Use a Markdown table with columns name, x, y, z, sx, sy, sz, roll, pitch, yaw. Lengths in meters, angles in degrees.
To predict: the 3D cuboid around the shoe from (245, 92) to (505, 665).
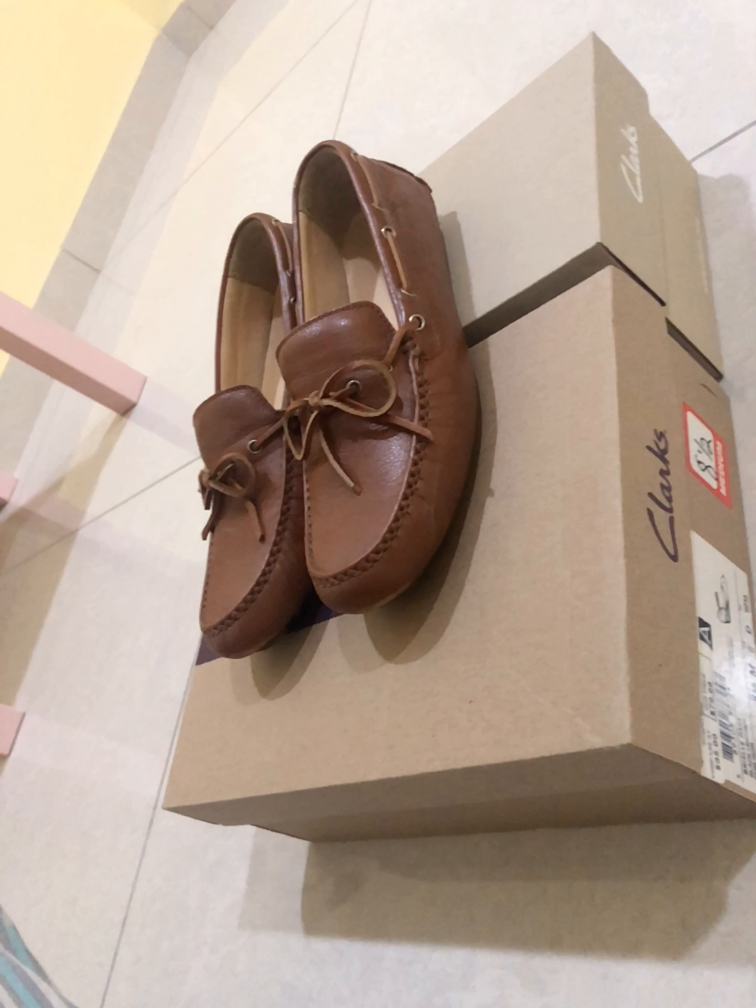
| name | x | y | z | sx | sy | sz | roll | pitch | yaw |
| --- | --- | --- | --- | --- | --- | --- | --- | --- | --- |
| shoe | 0.000 | -0.070 | 0.432 | 0.080 | 0.080 | 0.280 | -26 | 51 | 40 |

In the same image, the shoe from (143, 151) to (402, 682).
| name | x | y | z | sx | sy | sz | roll | pitch | yaw |
| --- | --- | --- | --- | --- | --- | --- | --- | --- | --- |
| shoe | -0.051 | -0.052 | 0.474 | 0.080 | 0.080 | 0.280 | -21 | 55 | 44 |
